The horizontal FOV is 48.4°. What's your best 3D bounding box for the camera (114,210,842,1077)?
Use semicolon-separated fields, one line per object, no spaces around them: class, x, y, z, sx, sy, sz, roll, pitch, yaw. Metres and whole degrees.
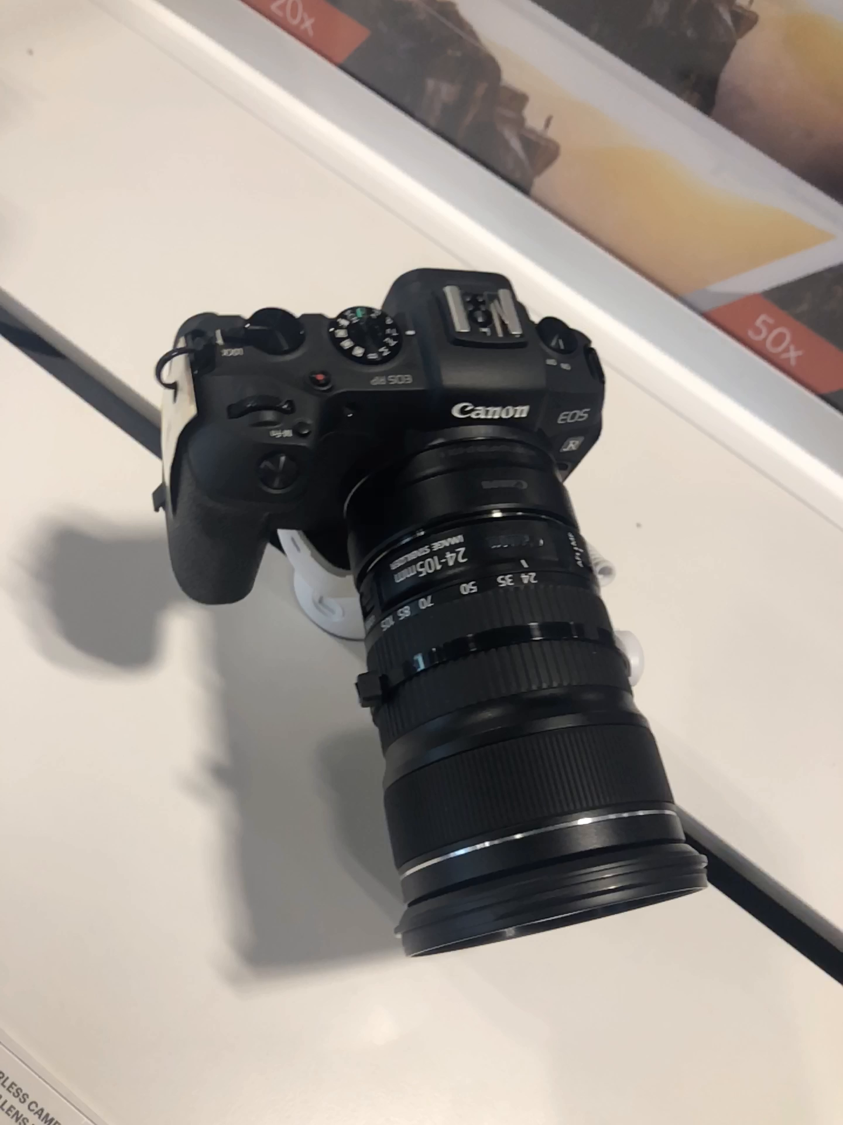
camera;0.000;0.011;0.253;0.136;0.090;0.191;-5;61;-23
